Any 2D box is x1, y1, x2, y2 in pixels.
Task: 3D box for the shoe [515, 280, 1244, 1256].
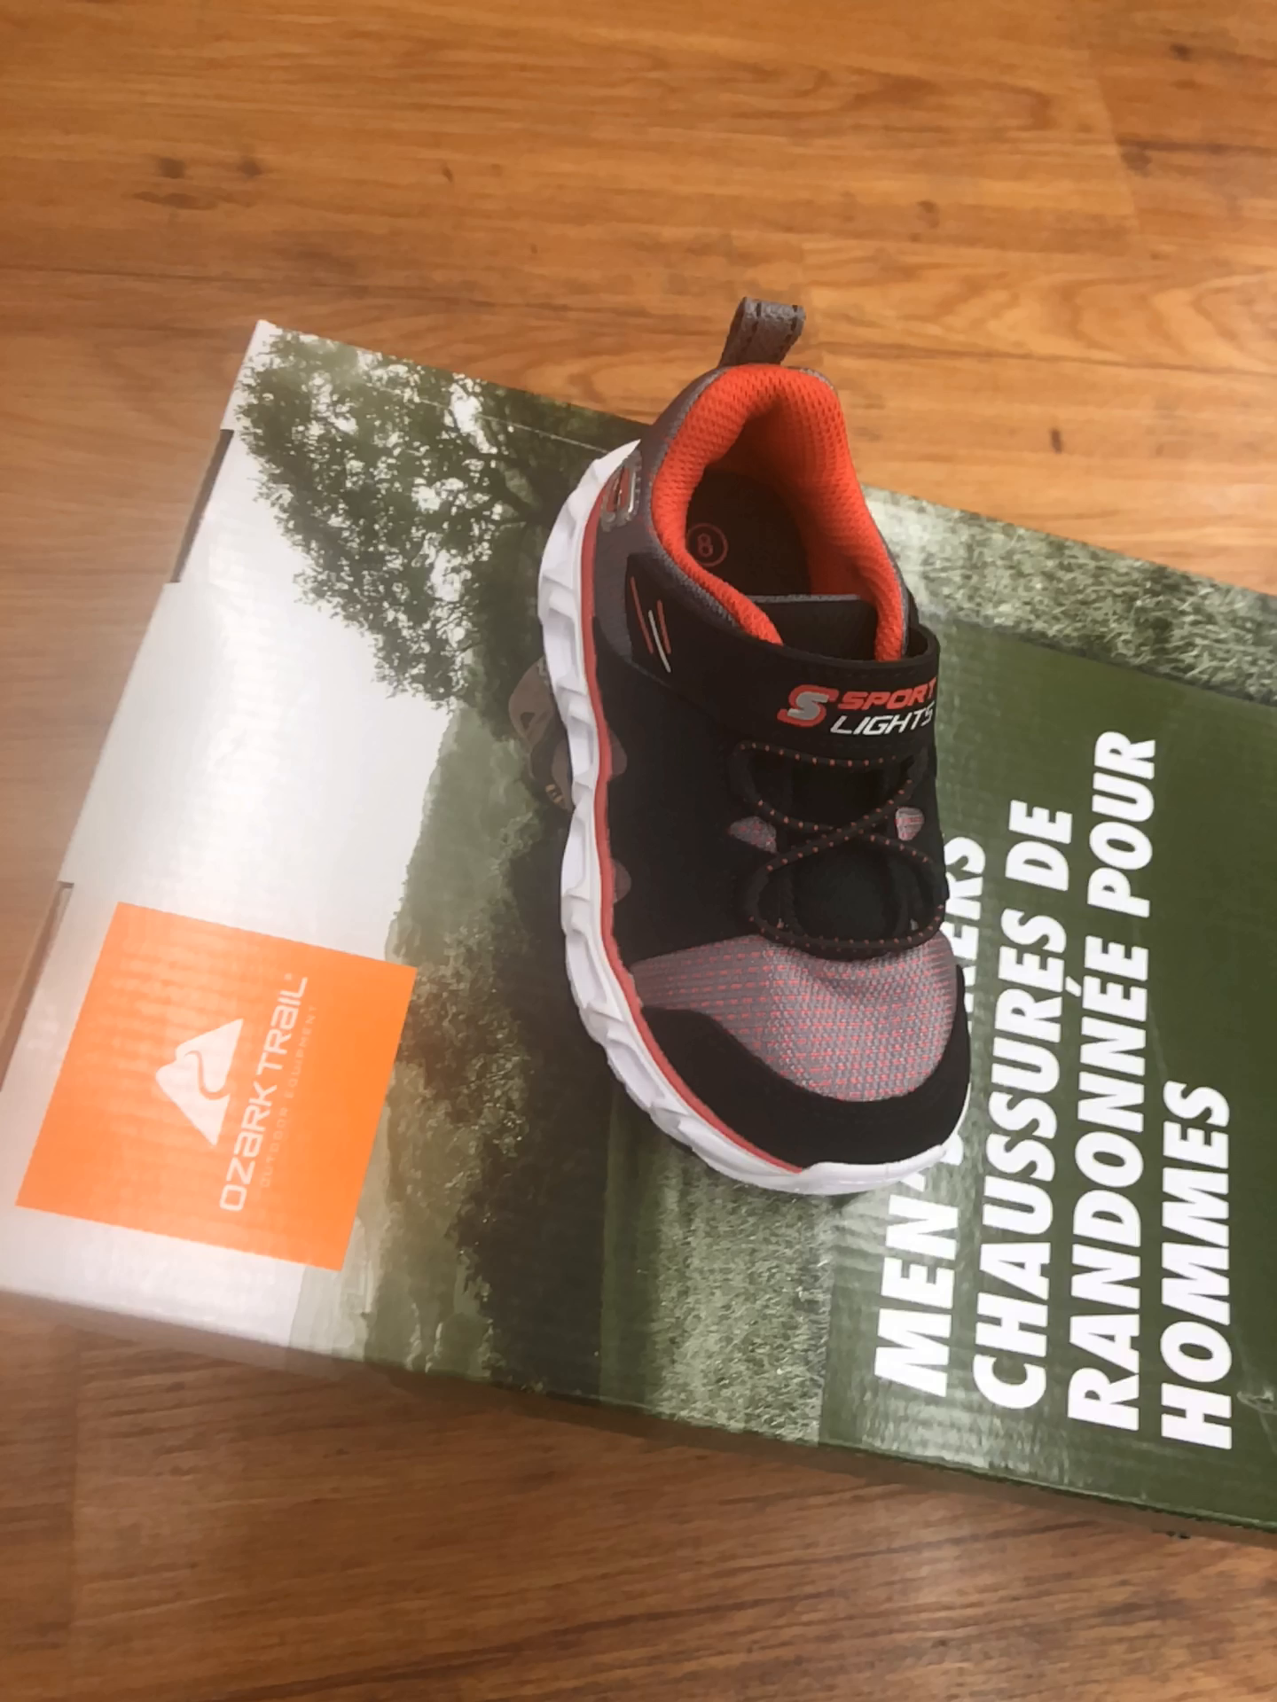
[{"bbox_3d":[0.034,-0.015,0.291,0.090,0.090,0.170,-4,69,-13],"label":"shoe"}]
